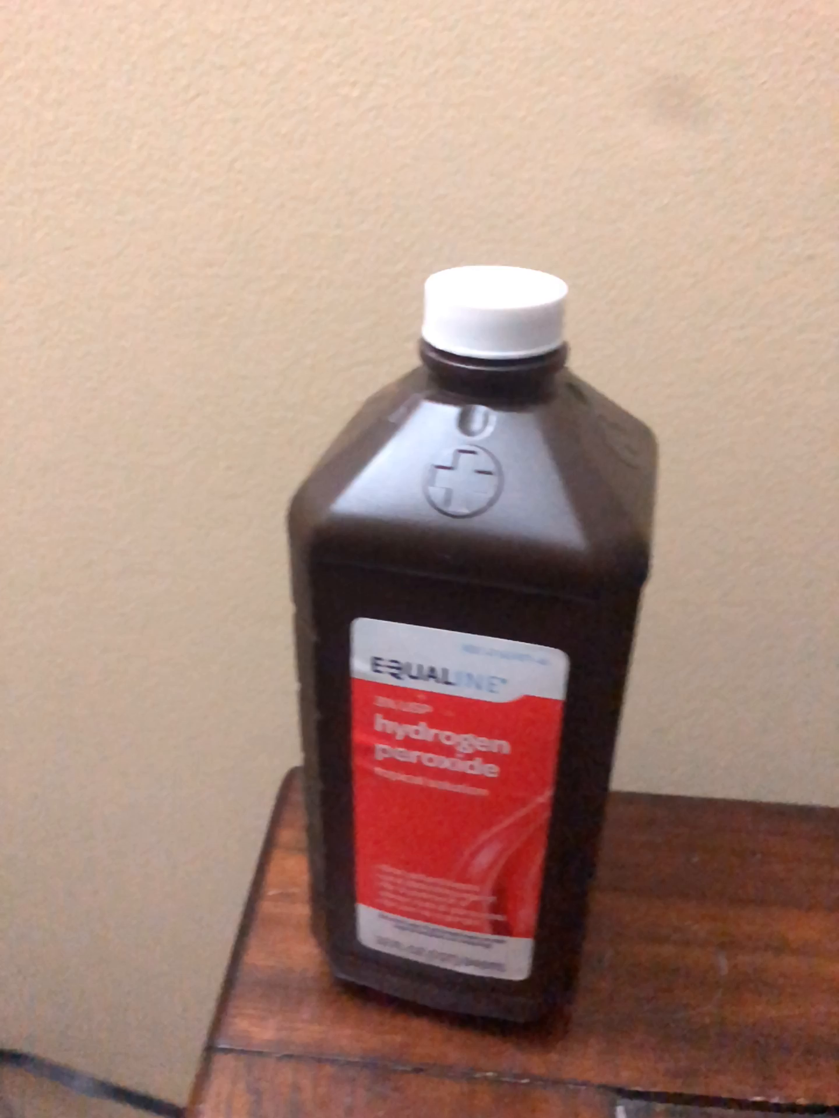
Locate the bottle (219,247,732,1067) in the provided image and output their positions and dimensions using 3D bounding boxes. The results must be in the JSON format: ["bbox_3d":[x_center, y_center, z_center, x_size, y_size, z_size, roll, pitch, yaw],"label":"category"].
[{"bbox_3d":[0.015,0.028,0.245,0.090,0.189,0.080,8,31,11],"label":"bottle"}]
